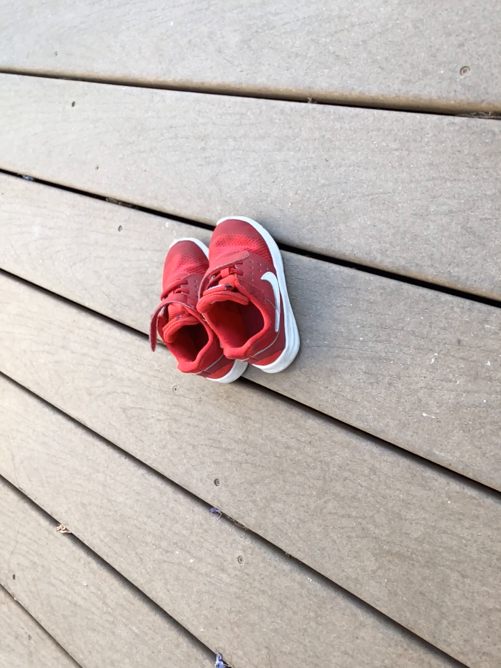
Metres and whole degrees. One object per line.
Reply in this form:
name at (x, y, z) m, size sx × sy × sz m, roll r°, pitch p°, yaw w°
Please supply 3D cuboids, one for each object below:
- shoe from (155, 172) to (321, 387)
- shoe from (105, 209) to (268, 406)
shoe at (-0.012, -0.045, 0.508) m, size 0.078 × 0.087 × 0.167 m, roll -23°, pitch 75°, yaw 30°
shoe at (-0.065, -0.024, 0.551) m, size 0.078 × 0.087 × 0.167 m, roll -30°, pitch 72°, yaw 29°
